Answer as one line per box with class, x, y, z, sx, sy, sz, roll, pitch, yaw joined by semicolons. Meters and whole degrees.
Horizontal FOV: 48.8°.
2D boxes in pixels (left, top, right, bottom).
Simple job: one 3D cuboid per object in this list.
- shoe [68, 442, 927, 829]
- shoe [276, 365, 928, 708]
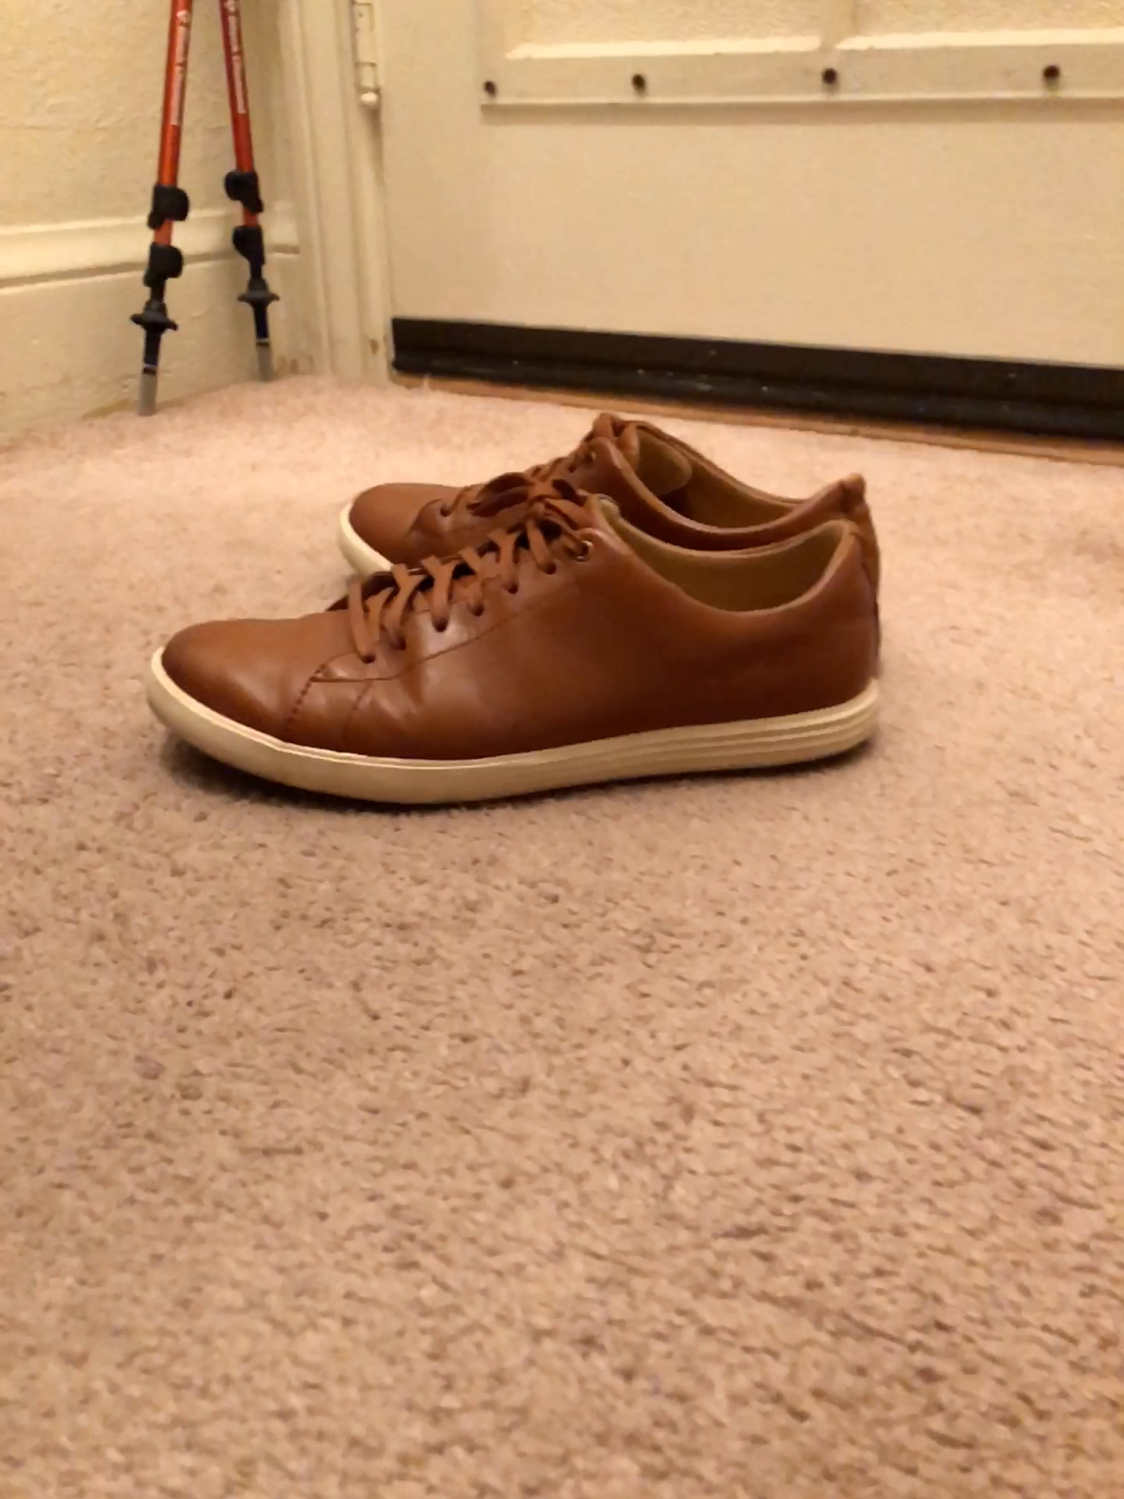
shoe;-0.023;-0.051;0.485;0.285;0.100;0.118;-3;27;-5
shoe;0.017;-0.116;0.608;0.285;0.102;0.118;12;30;23
